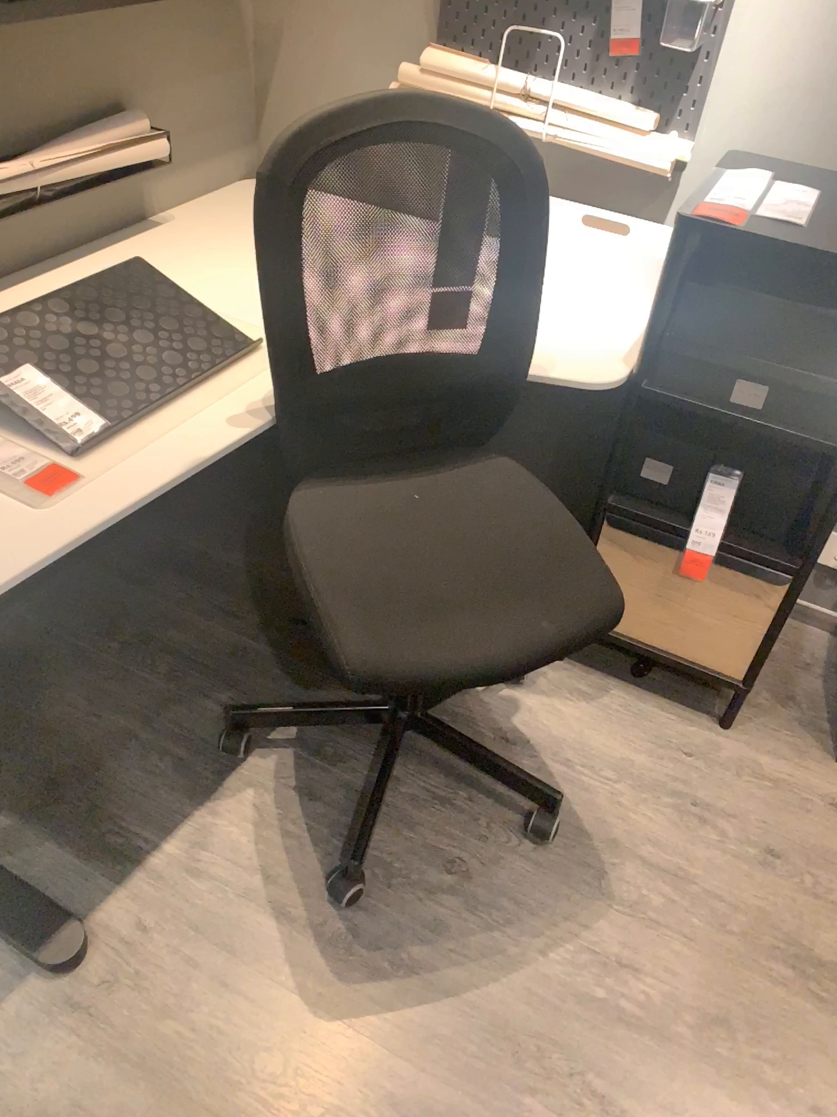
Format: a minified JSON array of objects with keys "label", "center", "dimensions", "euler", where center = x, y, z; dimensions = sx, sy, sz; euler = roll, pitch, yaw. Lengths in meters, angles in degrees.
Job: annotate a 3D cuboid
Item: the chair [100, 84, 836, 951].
[{"label":"chair","center":[-0.013,-0.077,1.305],"dimensions":[0.690,0.996,0.713],"euler":[-10,43,-19]}]
